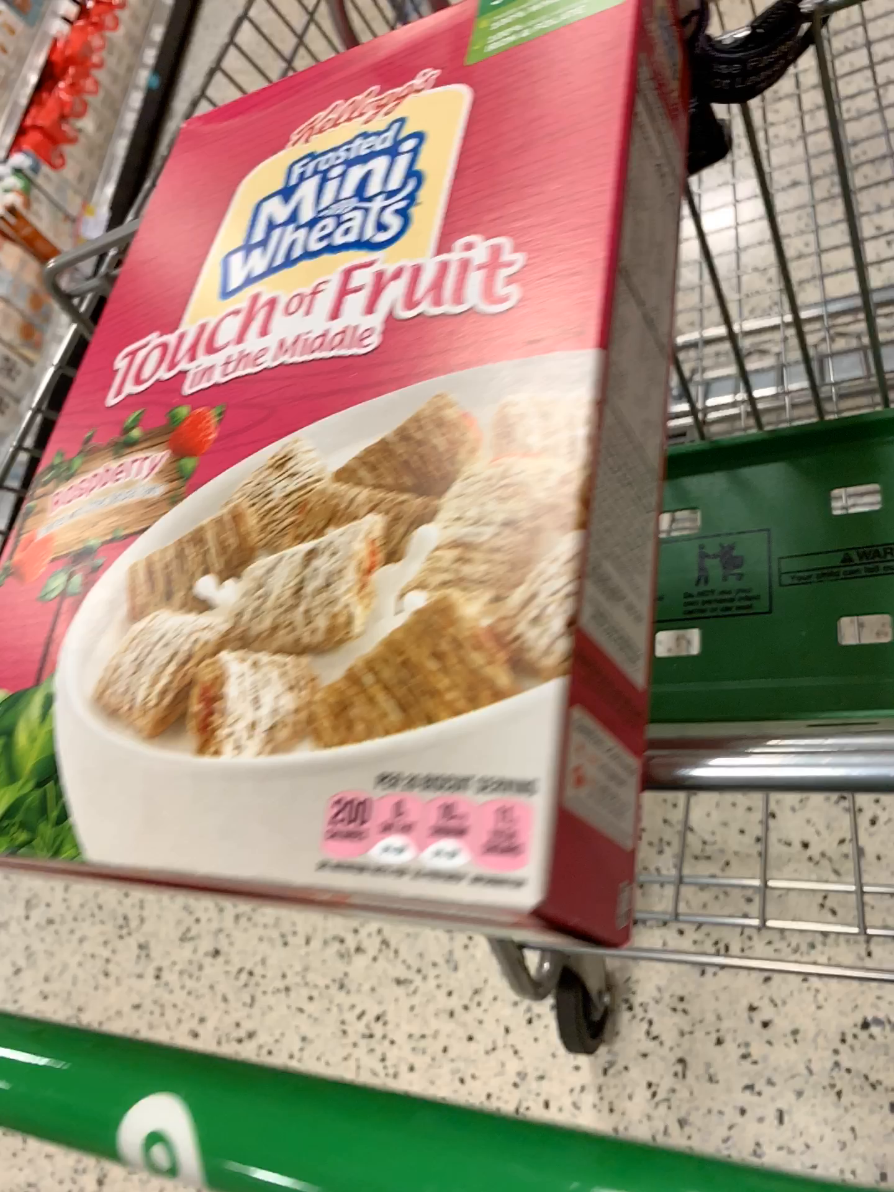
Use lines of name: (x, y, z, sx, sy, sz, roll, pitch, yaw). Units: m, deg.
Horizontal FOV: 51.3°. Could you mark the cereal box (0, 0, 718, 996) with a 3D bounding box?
cereal box: (-0.031, -0.054, 0.276, 0.201, 0.050, 0.291, -5, 62, 29)
